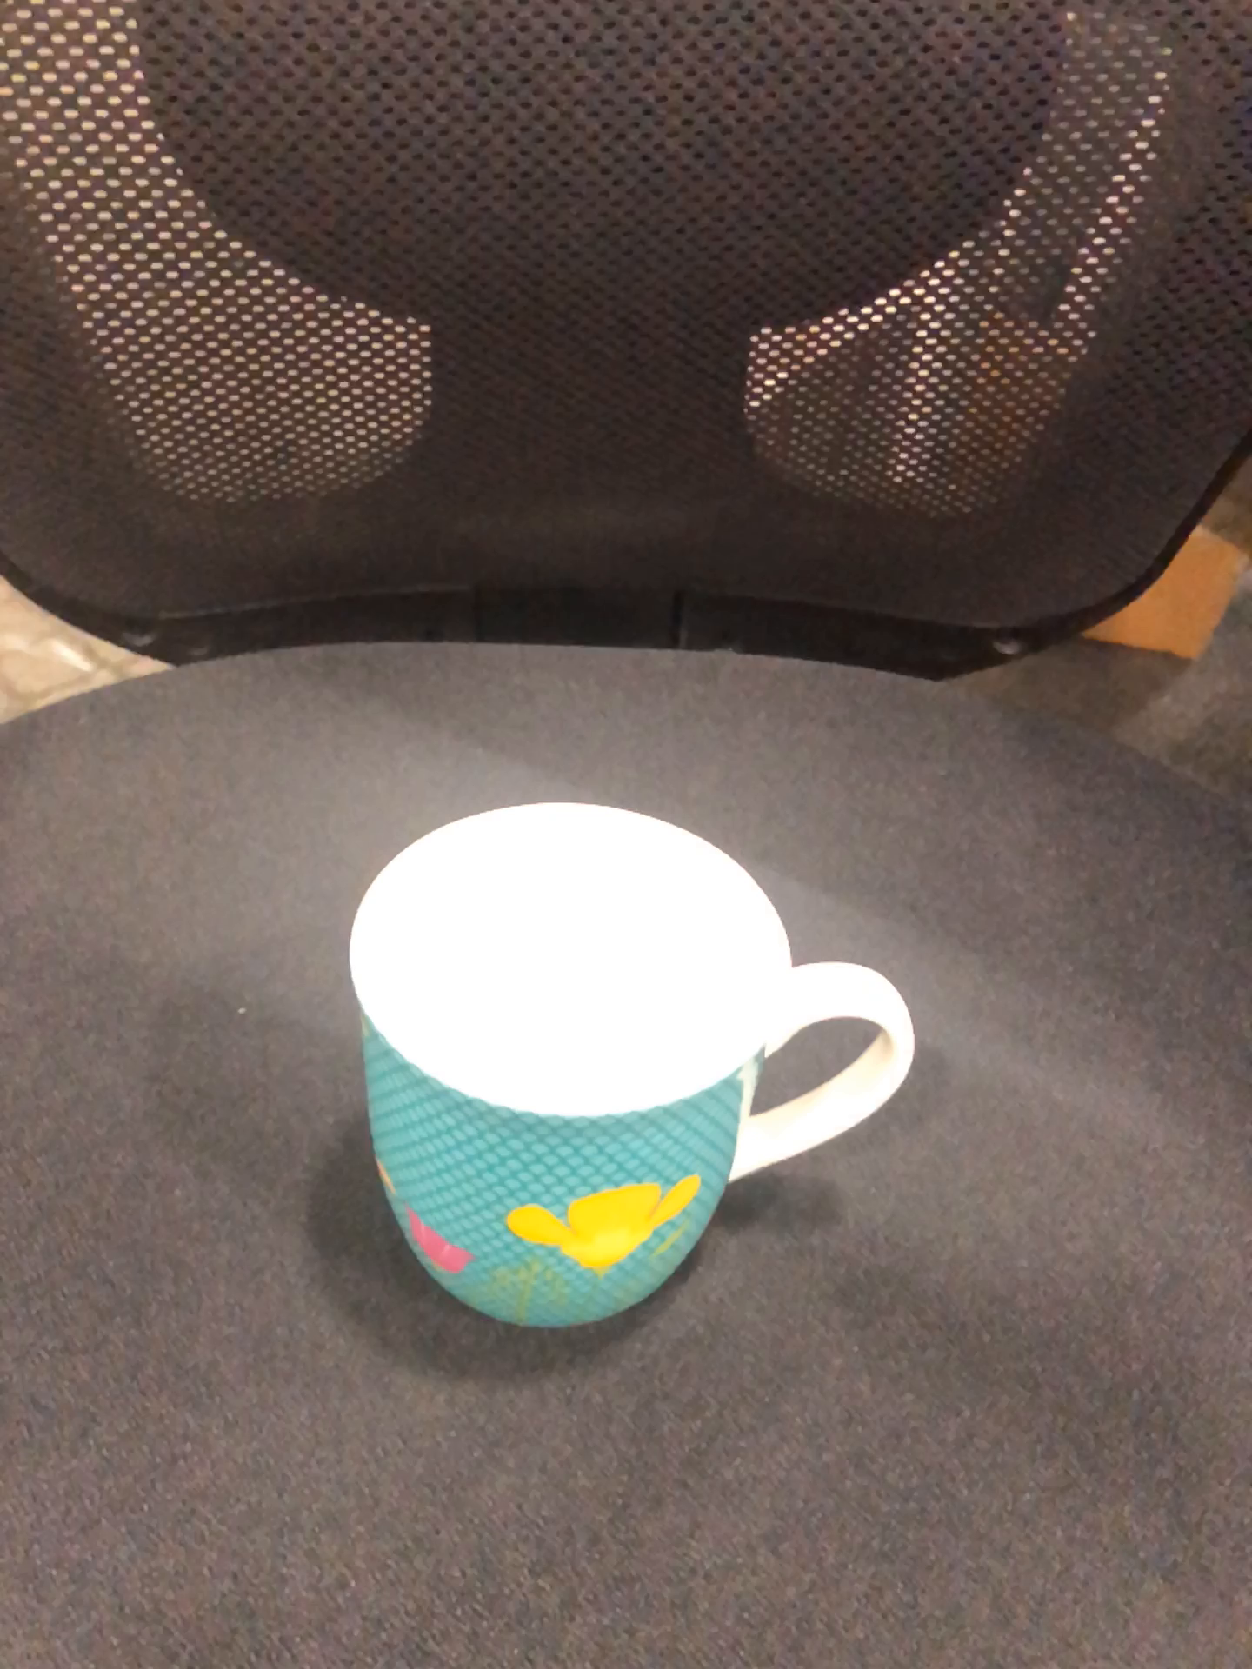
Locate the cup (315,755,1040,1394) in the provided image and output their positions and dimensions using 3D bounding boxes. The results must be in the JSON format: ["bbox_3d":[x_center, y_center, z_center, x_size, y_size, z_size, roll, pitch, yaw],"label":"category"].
[{"bbox_3d":[0.003,0.044,0.269,0.110,0.080,0.070,-8,46,-15],"label":"cup"}]
